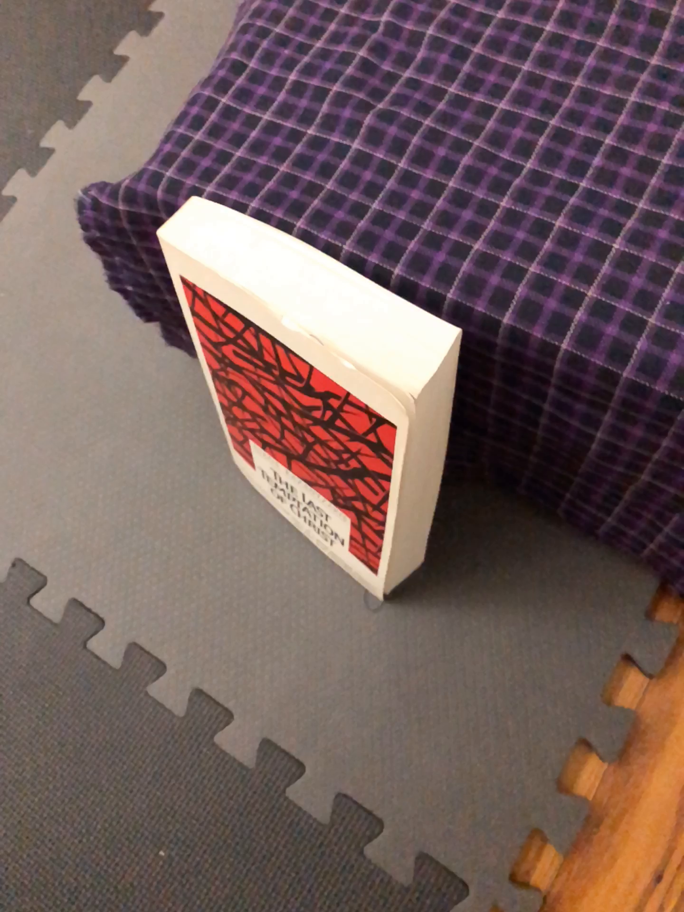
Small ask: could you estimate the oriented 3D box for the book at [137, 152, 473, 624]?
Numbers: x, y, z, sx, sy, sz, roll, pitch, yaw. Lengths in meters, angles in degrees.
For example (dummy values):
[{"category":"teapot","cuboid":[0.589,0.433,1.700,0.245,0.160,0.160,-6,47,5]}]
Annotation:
[{"category":"book","cuboid":[-0.012,-0.019,0.385,0.050,0.209,0.150,-37,63,-16]}]
